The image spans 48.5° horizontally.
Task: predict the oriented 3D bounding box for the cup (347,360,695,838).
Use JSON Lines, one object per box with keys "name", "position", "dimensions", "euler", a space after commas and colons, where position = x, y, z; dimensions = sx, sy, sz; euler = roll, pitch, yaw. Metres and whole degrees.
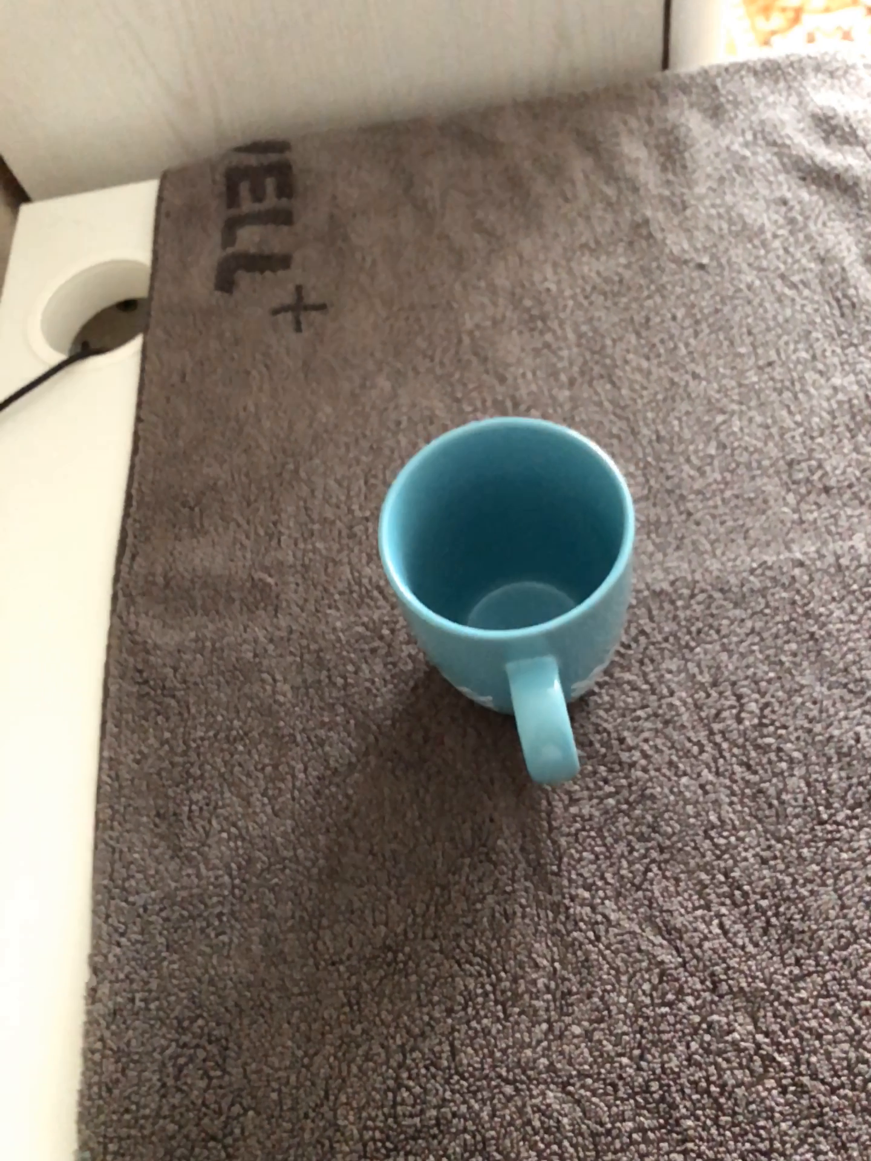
{"name": "cup", "position": [0.028, 0.009, 0.338], "dimensions": [0.087, 0.090, 0.126], "euler": [-12, 60, 5]}
